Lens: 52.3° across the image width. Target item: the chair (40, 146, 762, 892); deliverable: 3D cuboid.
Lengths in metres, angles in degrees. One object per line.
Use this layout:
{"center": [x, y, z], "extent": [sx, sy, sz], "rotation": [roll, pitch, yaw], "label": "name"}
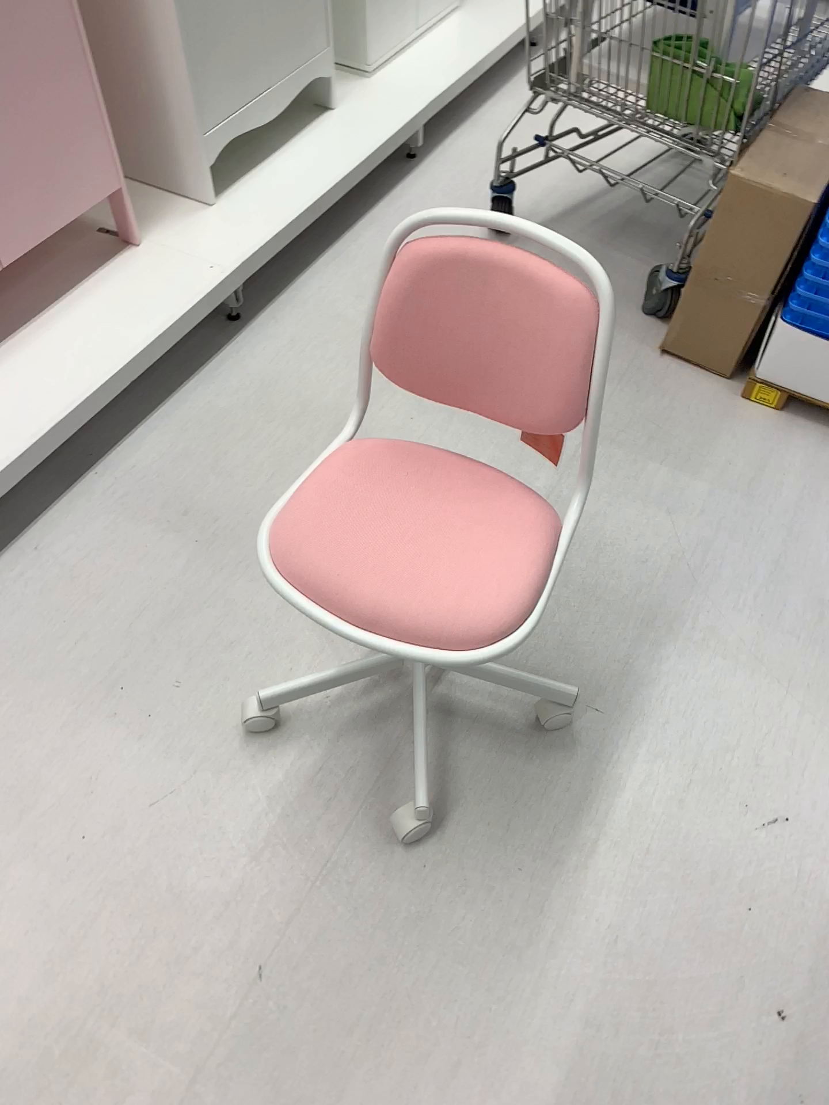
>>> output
{"center": [0.010, -0.022, 1.142], "extent": [0.560, 0.698, 0.531], "rotation": [22, 55, 15], "label": "chair"}
